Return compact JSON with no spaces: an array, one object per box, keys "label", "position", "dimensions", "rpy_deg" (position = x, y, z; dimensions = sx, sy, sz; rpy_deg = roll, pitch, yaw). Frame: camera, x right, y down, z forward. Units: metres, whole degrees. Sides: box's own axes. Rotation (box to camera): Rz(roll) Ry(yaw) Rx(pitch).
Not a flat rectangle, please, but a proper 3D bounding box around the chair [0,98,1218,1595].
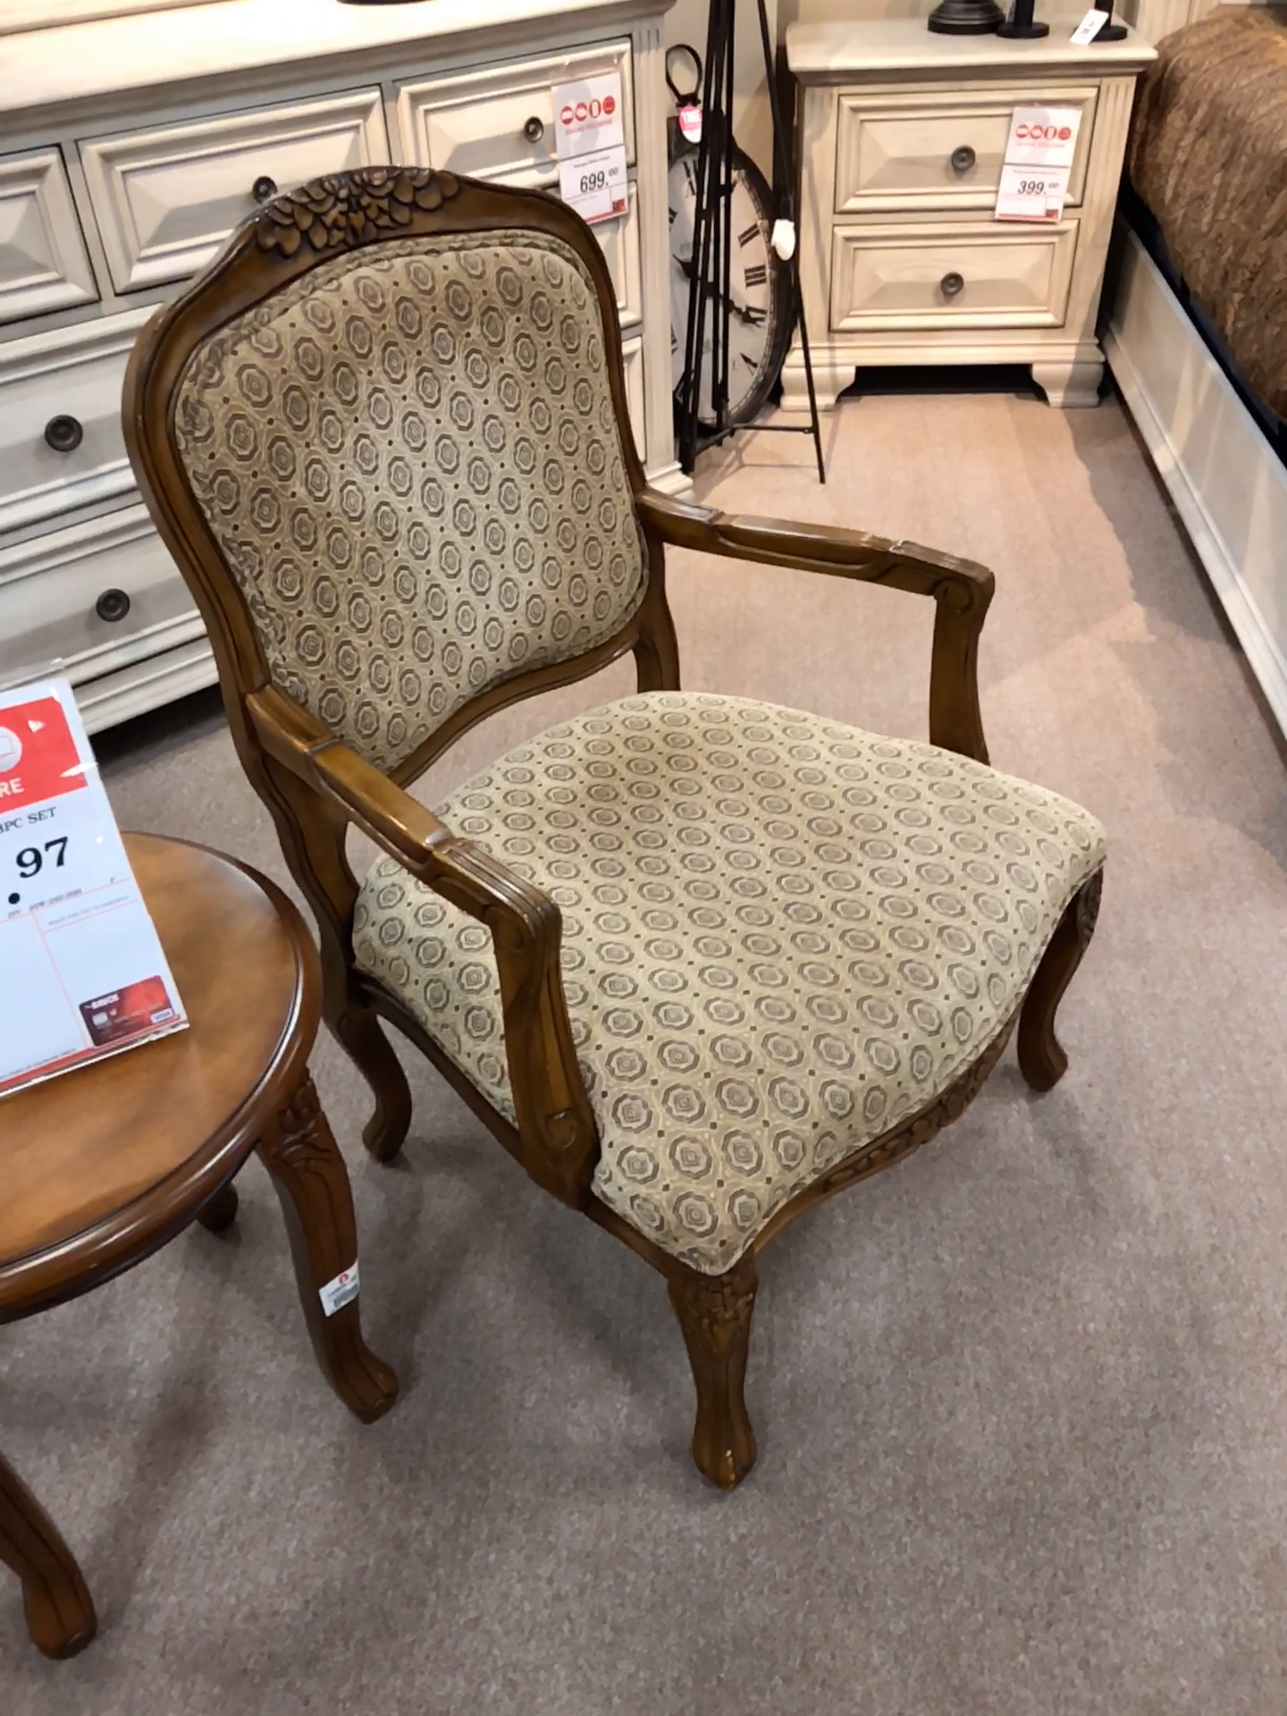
[{"label":"chair","position":[-0.047,-0.055,1.395],"dimensions":[0.702,1.062,0.783],"rpy_deg":[27,47,32]}]
